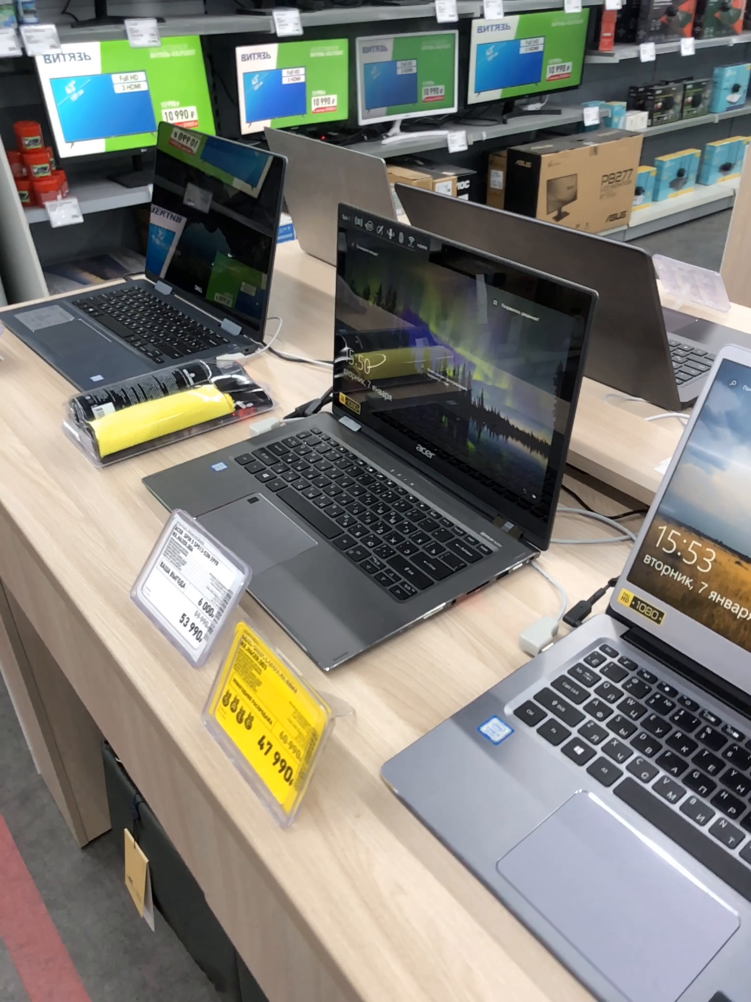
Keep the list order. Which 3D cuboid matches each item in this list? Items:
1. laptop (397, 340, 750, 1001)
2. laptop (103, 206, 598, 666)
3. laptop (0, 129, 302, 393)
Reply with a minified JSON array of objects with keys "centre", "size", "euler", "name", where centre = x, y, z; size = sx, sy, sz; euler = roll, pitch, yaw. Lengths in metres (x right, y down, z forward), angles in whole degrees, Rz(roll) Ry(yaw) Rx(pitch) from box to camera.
[{"centre":[0.204,0.082,0.439],"size":[0.299,0.196,0.271],"euler":[-24,38,-31],"name":"laptop"},{"centre":[-0.032,-0.085,0.694],"size":[0.246,0.215,0.315],"euler":[-23,39,-29],"name":"laptop"},{"centre":[-0.319,-0.334,1.078],"size":[0.288,0.215,0.341],"euler":[-24,39,-30],"name":"laptop"}]
